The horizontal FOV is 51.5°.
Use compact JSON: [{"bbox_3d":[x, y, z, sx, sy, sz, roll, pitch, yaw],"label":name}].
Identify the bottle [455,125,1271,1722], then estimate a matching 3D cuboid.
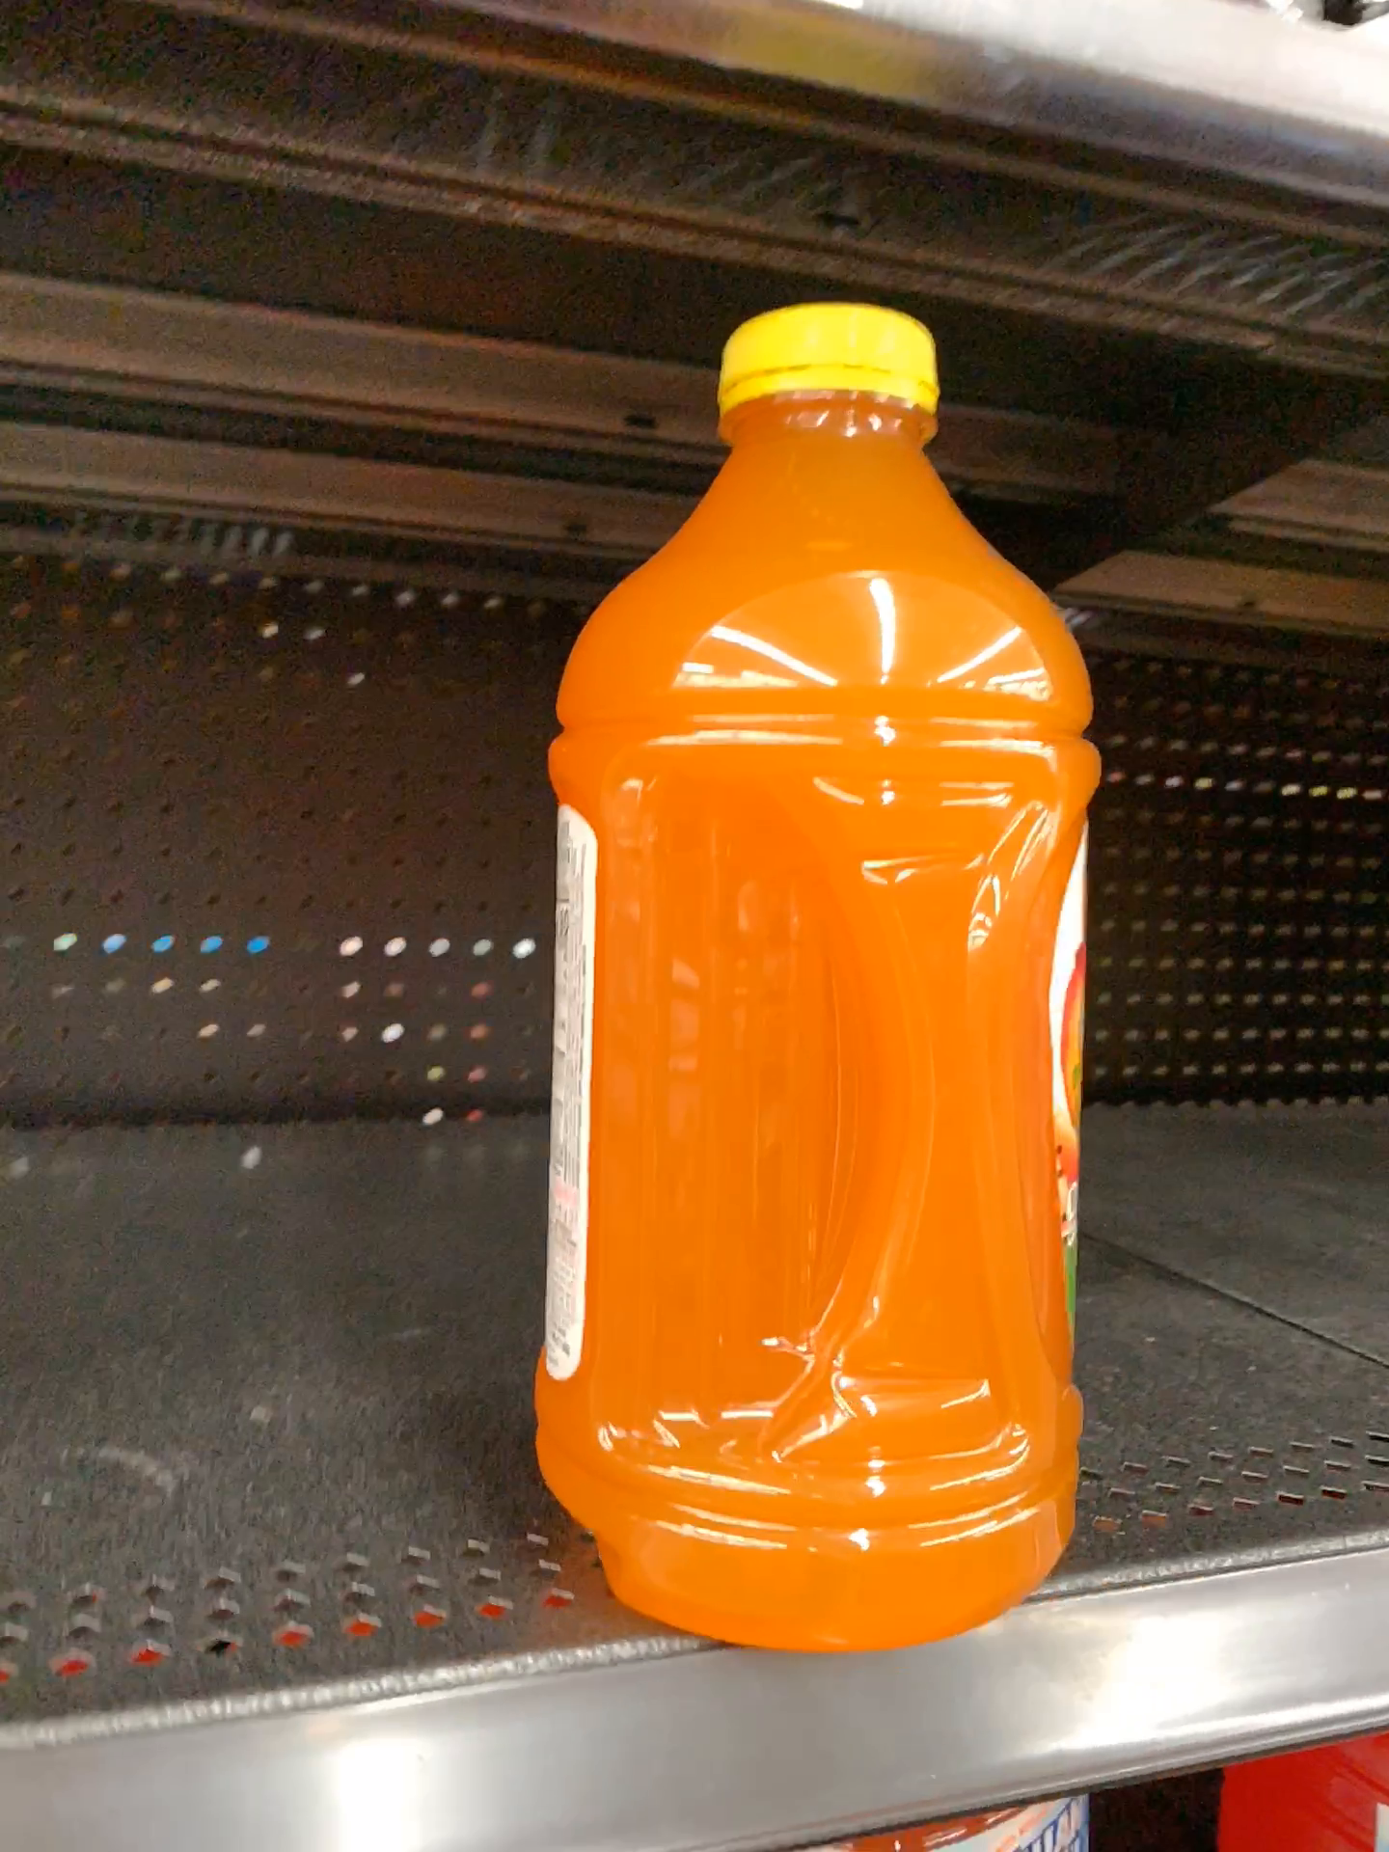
[{"bbox_3d":[0.023,0.000,0.313,0.125,0.260,0.128,2,3,0],"label":"bottle"}]
